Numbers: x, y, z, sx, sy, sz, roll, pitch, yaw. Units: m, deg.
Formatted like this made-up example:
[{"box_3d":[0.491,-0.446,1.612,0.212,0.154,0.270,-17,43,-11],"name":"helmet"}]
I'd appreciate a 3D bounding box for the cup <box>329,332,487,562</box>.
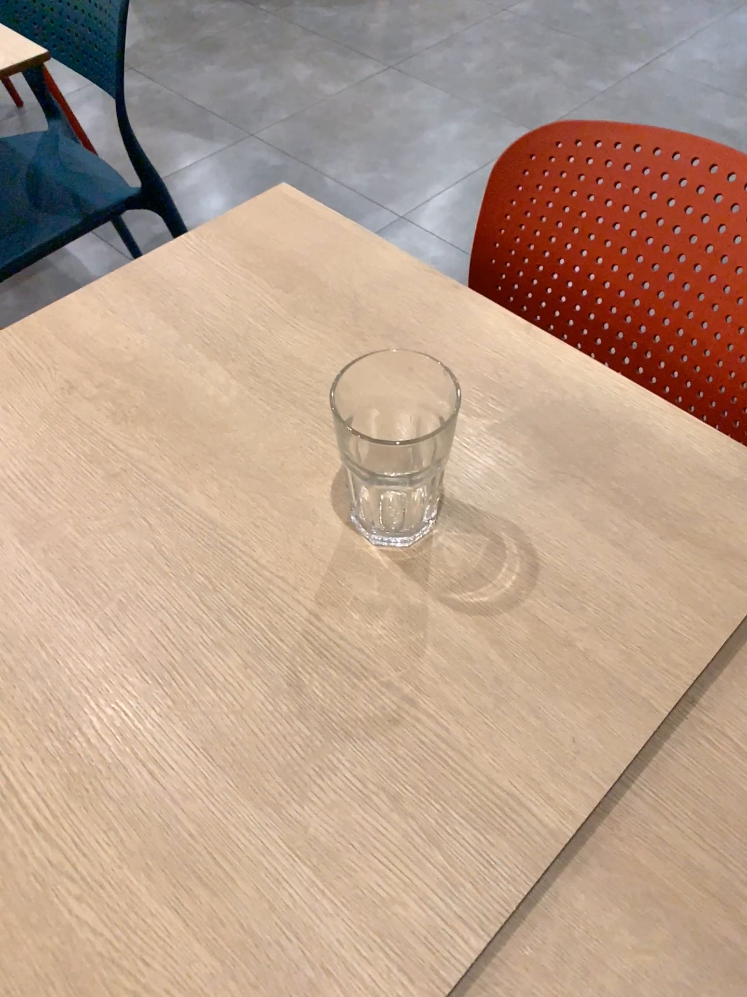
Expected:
[{"box_3d":[0.022,-0.031,0.499,0.080,0.120,0.080,0,53,0],"name":"cup"}]
